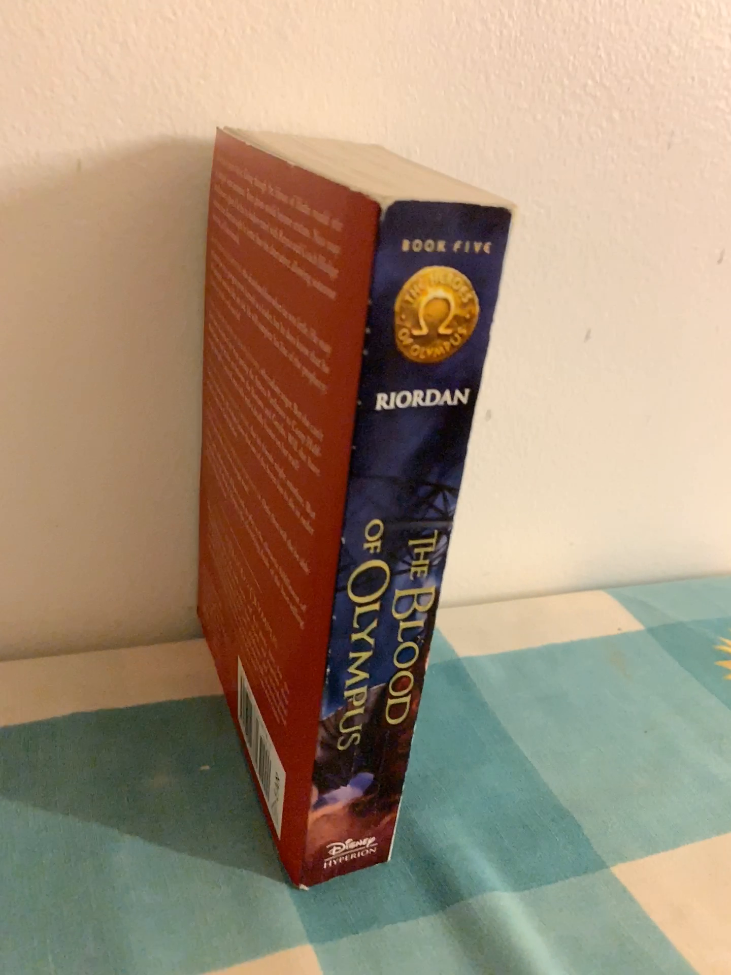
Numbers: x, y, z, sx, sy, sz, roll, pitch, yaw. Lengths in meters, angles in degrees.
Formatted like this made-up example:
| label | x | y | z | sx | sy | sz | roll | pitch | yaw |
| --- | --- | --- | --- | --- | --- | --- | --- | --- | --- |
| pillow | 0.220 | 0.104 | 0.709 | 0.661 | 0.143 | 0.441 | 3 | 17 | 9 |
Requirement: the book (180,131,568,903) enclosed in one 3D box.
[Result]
| label | x | y | z | sx | sy | sz | roll | pitch | yaw |
| --- | --- | --- | --- | --- | --- | --- | --- | --- | --- |
| book | -0.021 | -0.005 | 0.236 | 0.051 | 0.180 | 0.151 | -2 | 27 | -20 |
